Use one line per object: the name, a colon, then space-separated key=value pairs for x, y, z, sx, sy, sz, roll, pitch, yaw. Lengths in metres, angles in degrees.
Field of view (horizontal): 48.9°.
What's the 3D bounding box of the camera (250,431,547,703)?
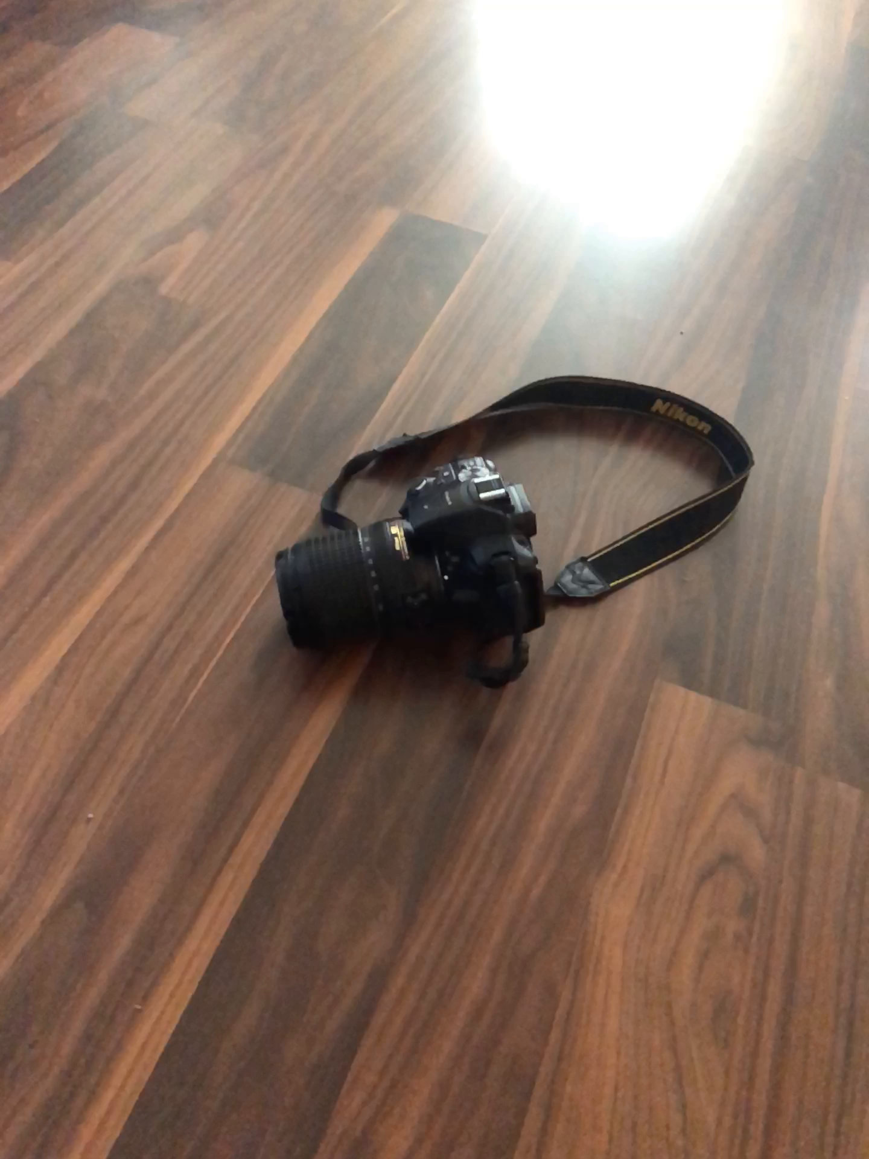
camera: x=-0.026 y=-0.008 z=0.689 sx=0.180 sy=0.130 sz=0.110 roll=-10 pitch=54 yaw=-7
